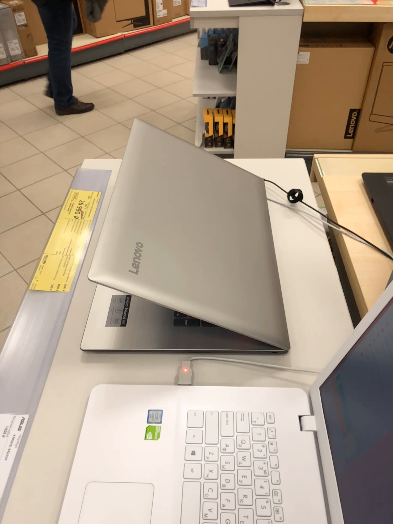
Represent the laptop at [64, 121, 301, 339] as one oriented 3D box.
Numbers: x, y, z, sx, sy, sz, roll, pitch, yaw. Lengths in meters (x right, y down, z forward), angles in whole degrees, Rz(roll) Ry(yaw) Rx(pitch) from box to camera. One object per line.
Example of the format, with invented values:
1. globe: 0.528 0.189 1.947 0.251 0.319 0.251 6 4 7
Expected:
1. laptop: -0.008 -0.077 0.692 0.276 0.129 0.400 0 42 3
